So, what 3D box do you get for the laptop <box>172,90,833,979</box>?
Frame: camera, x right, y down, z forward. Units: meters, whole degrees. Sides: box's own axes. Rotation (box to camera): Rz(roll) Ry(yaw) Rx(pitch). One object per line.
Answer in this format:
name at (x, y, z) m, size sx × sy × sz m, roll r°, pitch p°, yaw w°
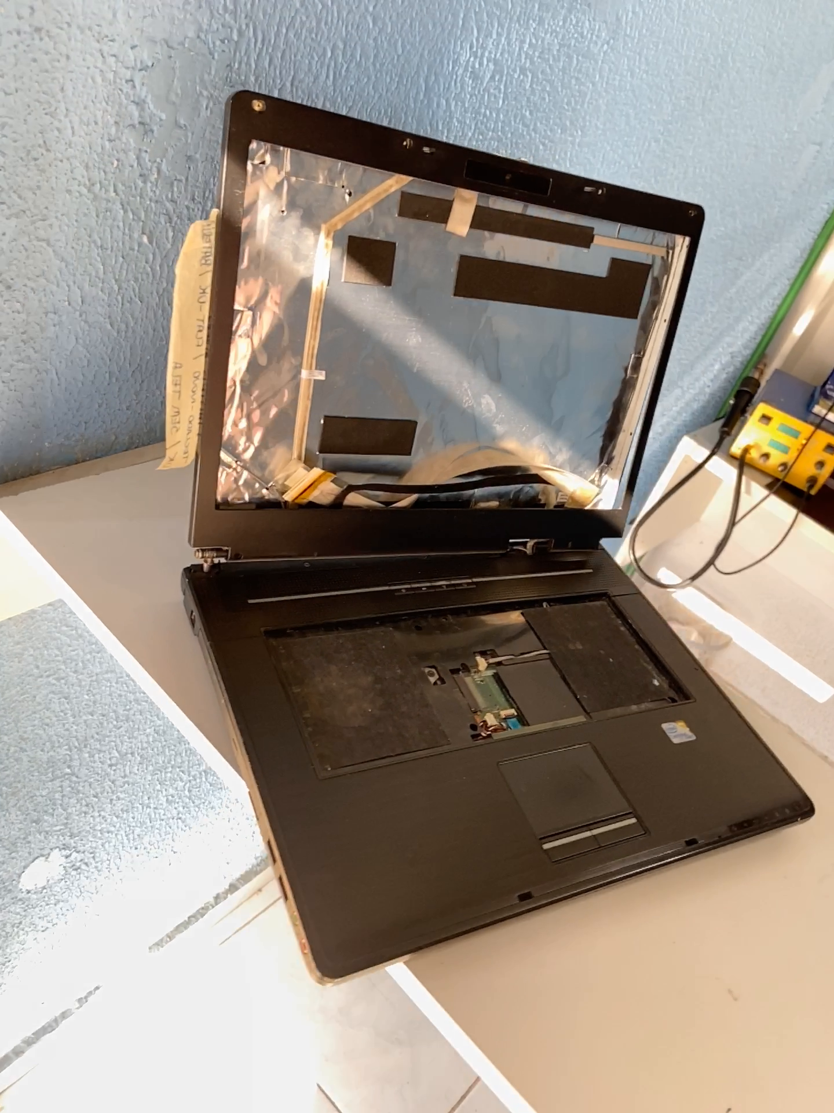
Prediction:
laptop at (0.083, -0.040, 0.508) m, size 0.353 × 0.261 × 0.351 m, roll -3°, pitch 43°, yaw -29°
